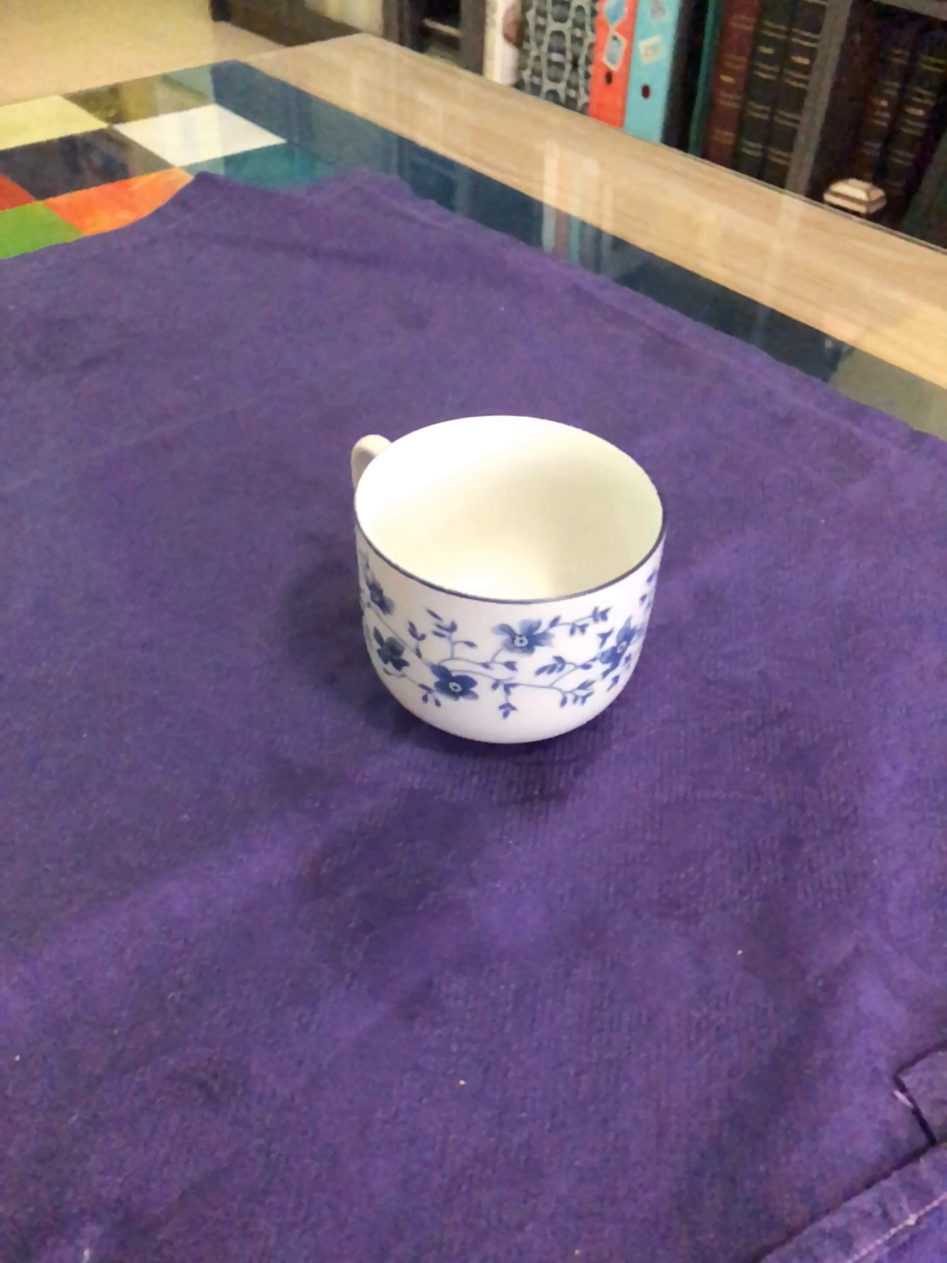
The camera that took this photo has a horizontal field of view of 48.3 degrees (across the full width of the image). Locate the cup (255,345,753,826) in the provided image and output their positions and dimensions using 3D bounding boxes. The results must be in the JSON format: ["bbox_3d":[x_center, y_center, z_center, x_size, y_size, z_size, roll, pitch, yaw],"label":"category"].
[{"bbox_3d":[0.005,-0.017,0.274,0.070,0.060,0.100,-32,52,-30],"label":"cup"}]
